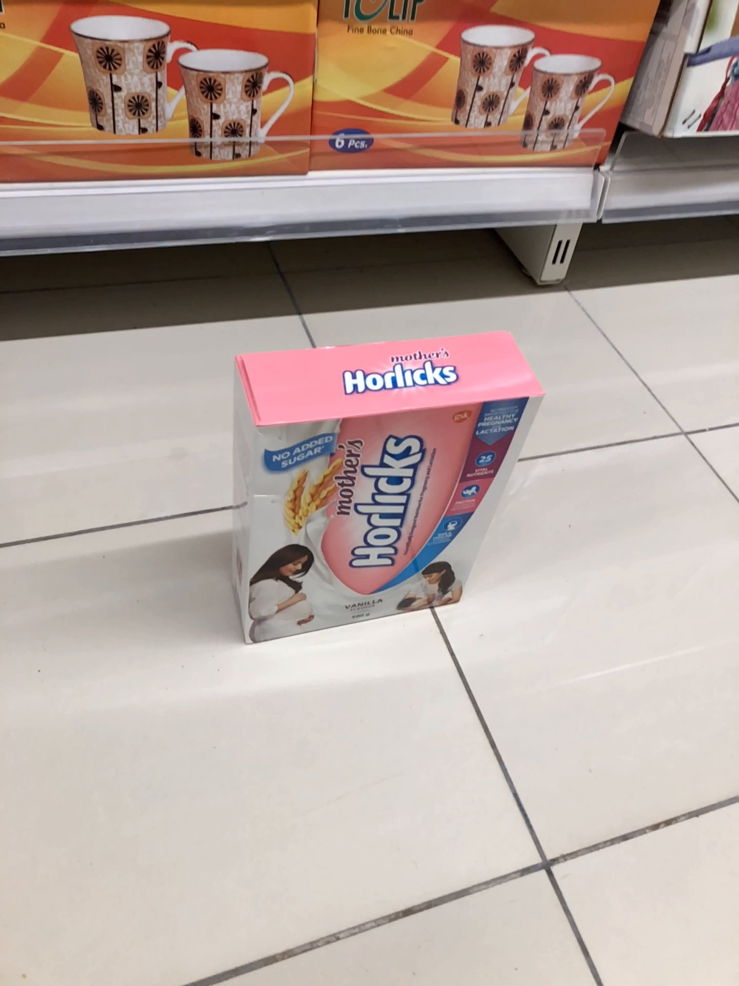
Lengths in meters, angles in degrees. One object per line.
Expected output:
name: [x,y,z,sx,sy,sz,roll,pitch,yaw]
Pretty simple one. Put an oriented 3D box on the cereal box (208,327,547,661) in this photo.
cereal box: [-0.007,0.006,0.472,0.160,0.189,0.060,-8,49,-17]
